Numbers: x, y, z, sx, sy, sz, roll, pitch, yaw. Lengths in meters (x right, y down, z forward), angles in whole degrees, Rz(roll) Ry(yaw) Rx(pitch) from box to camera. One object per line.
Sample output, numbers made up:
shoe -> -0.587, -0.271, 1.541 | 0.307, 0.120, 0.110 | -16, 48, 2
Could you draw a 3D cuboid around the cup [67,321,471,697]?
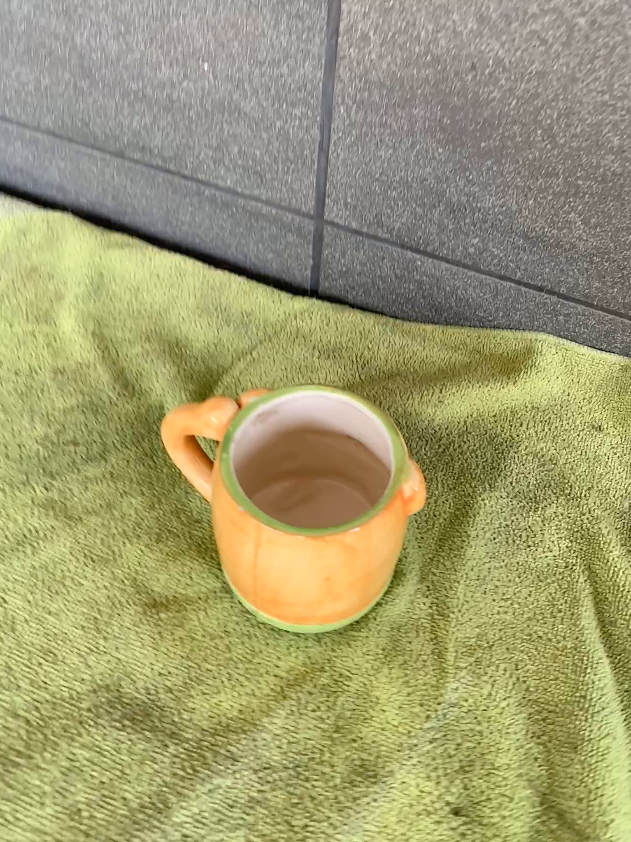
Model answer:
cup -> -0.017, 0.038, 0.284 | 0.130, 0.100, 0.080 | 21, 52, 13
